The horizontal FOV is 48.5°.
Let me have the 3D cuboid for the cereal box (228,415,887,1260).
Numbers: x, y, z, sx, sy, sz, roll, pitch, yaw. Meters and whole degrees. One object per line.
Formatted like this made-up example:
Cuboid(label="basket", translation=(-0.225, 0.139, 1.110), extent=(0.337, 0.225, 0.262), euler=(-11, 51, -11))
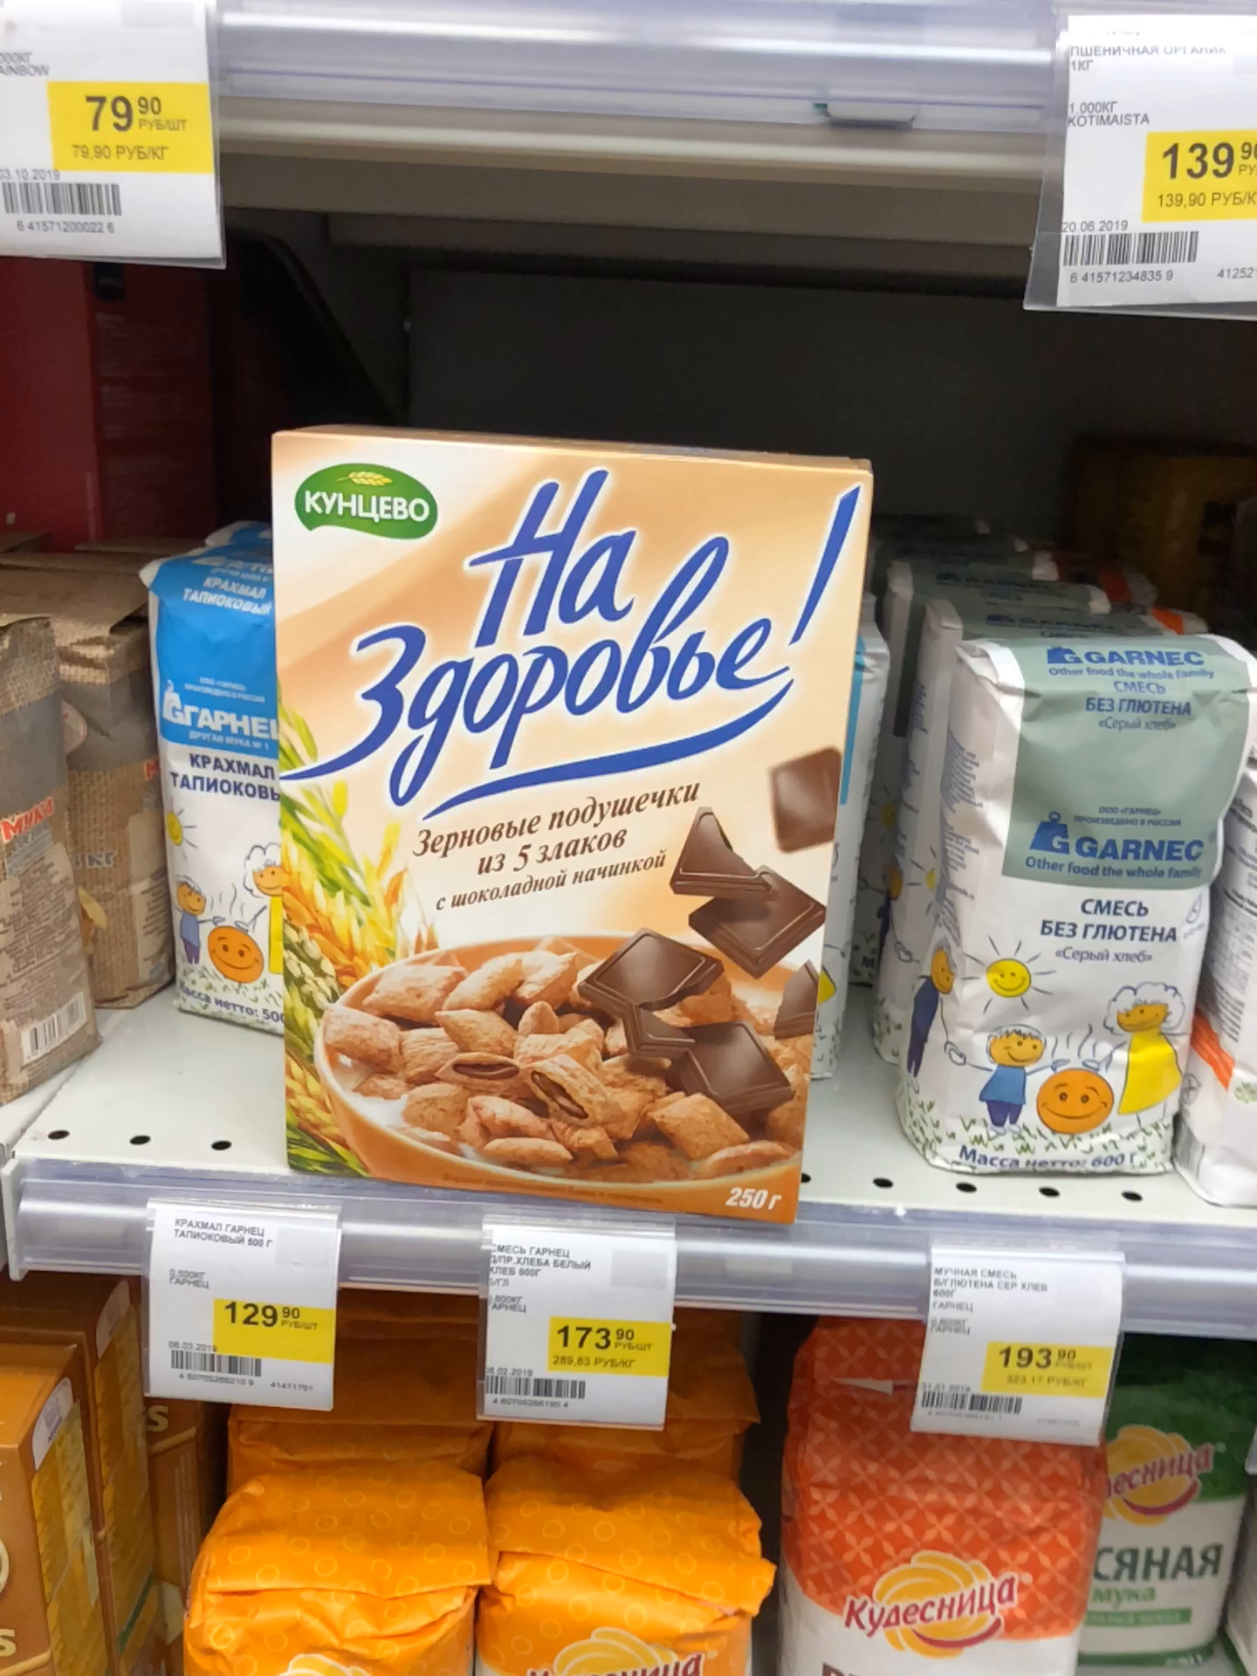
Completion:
Cuboid(label="cereal box", translation=(-0.021, 0.000, 0.391), extent=(0.160, 0.219, 0.050), euler=(5, 18, 6))
